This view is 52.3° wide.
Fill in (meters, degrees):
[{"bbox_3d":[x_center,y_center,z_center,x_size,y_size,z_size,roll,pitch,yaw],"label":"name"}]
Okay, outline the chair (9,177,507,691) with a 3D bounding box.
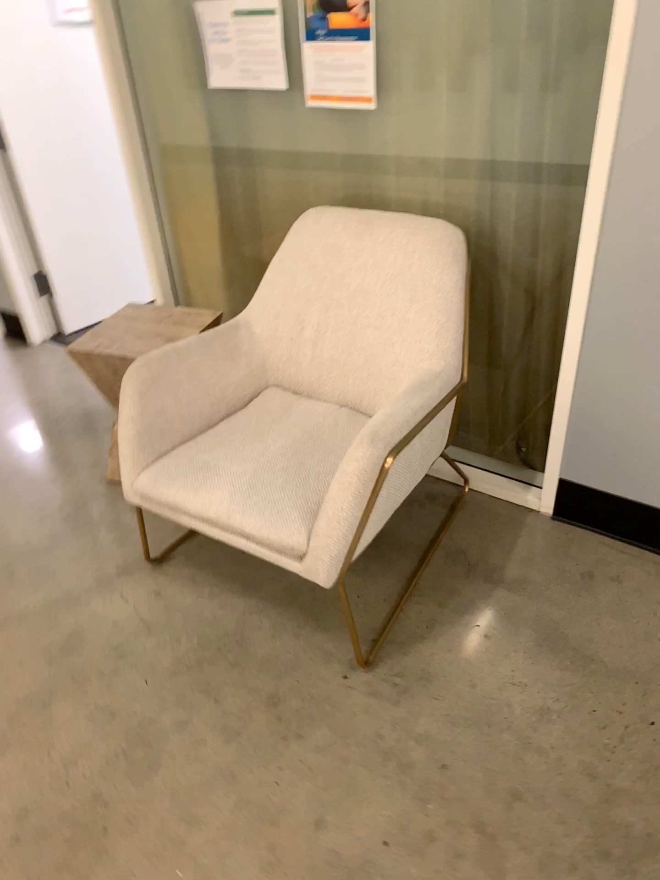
[{"bbox_3d":[-0.098,-0.089,1.708,0.783,0.864,0.772,16,40,26],"label":"chair"}]
